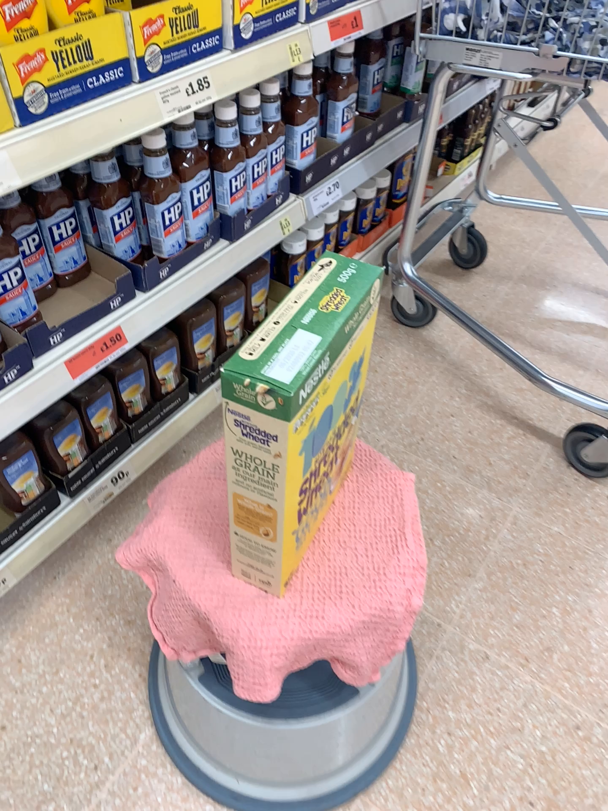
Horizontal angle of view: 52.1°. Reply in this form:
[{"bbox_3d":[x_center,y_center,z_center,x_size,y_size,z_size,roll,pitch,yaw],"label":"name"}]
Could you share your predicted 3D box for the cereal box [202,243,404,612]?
[{"bbox_3d":[0.003,0.027,0.589,0.070,0.277,0.212,22,48,17],"label":"cereal box"}]
